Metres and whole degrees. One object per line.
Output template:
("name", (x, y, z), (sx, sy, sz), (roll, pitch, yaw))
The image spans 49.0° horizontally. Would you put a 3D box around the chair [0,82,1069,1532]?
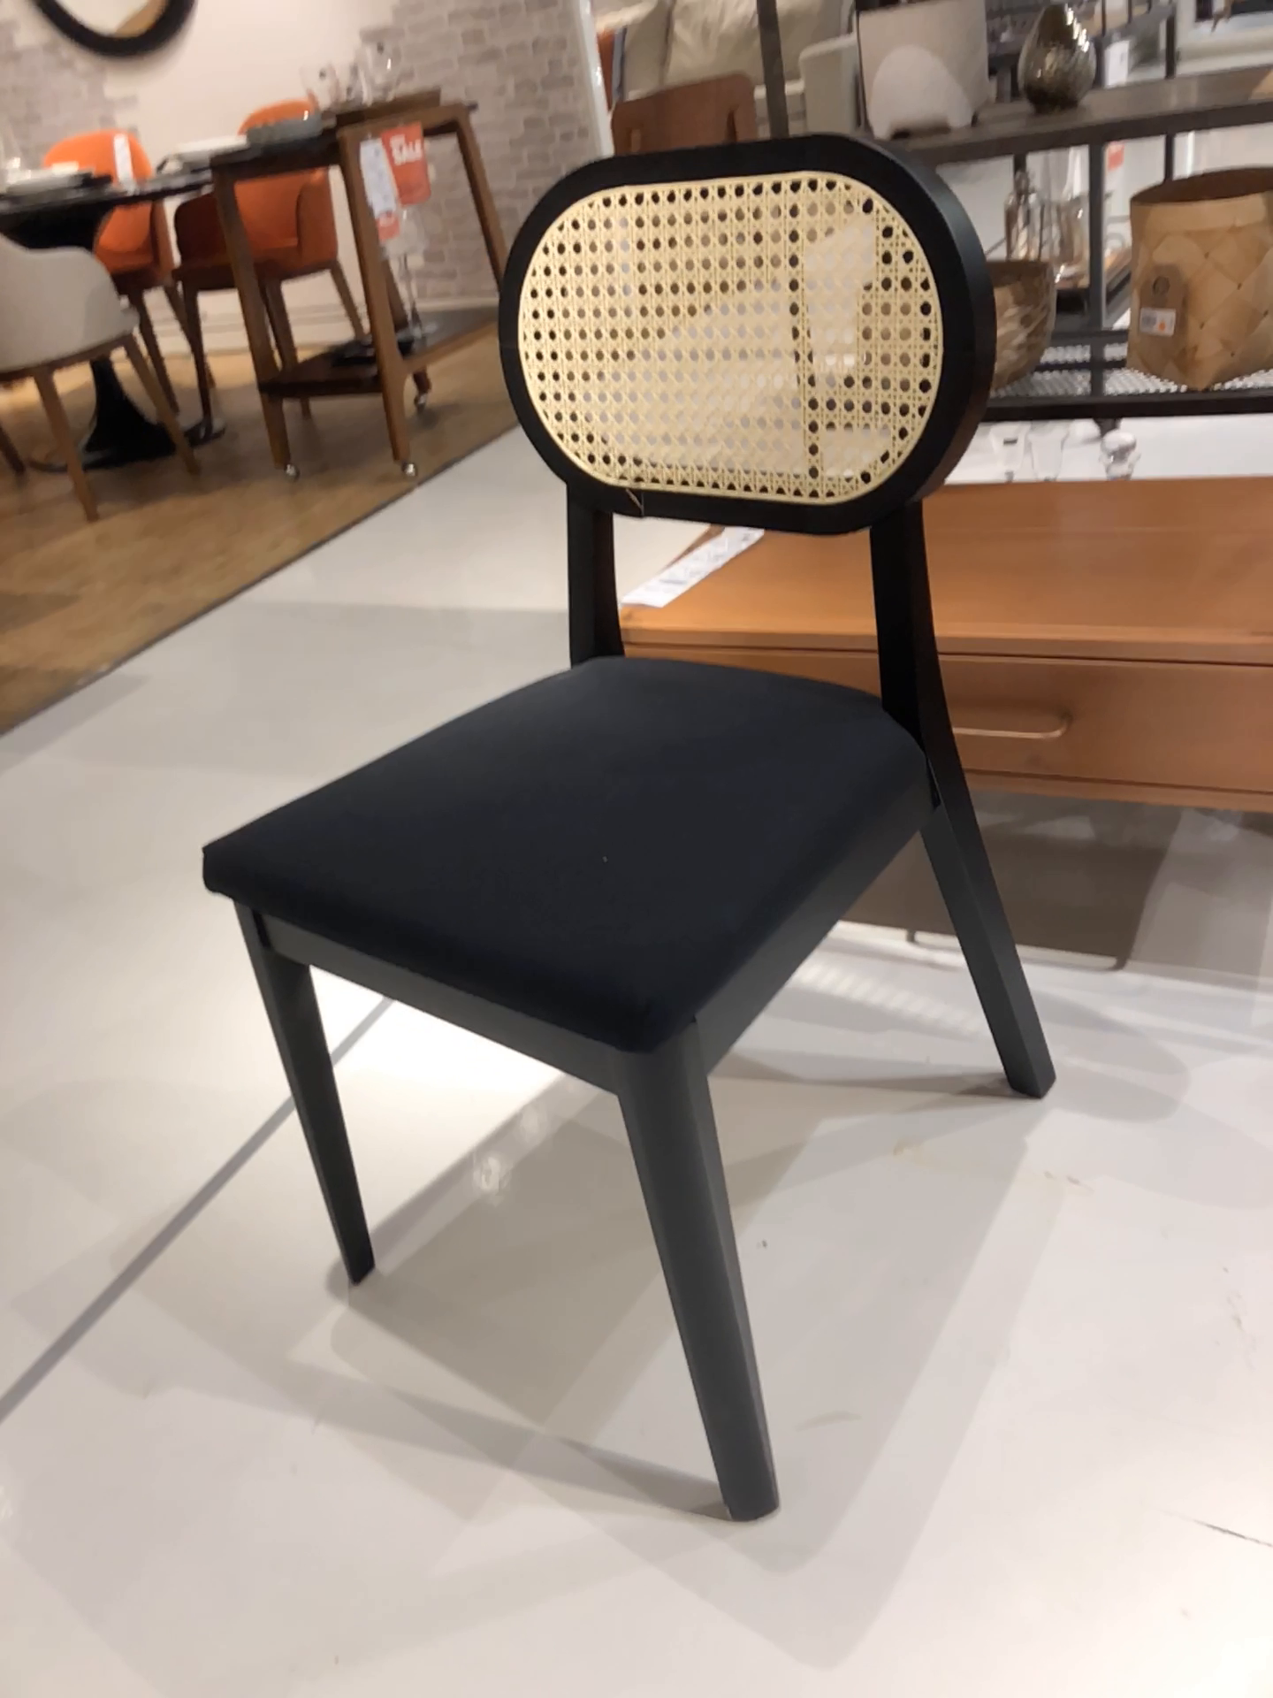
("chair", (-0.023, -0.062, 1.067), (0.501, 0.804, 0.543), (14, 38, 36))
